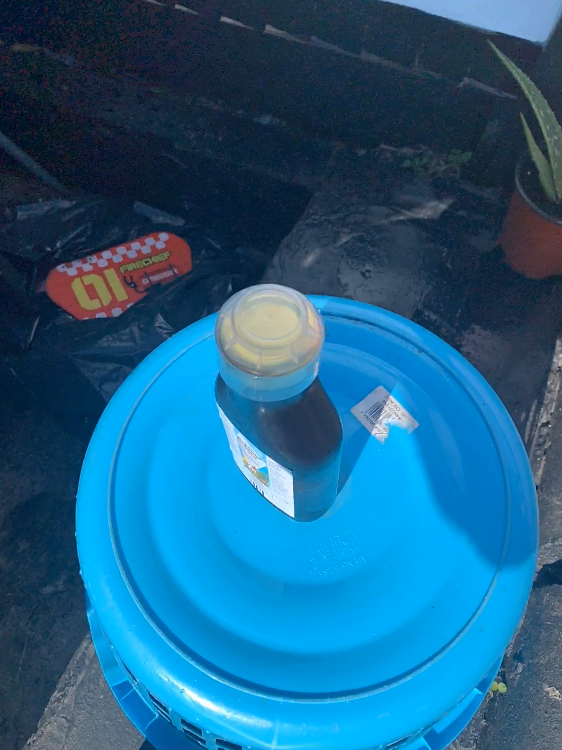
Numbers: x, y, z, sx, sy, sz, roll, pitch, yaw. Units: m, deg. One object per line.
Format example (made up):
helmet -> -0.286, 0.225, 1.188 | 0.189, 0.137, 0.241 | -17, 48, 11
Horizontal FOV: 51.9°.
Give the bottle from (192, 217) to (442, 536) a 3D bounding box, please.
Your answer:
bottle -> 0.009, 0.020, 0.305 | 0.080, 0.199, 0.050 | 37, 68, 15
